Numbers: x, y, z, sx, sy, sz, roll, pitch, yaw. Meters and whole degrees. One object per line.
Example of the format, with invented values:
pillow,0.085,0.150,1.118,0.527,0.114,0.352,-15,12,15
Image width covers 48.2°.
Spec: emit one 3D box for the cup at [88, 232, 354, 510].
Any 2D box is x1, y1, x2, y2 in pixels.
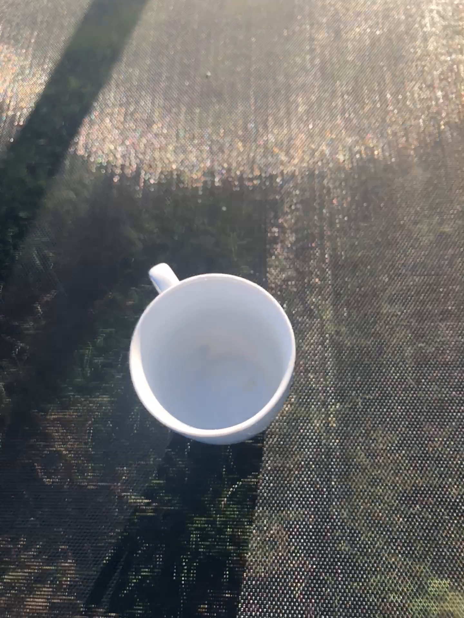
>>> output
cup,-0.006,0.040,0.316,0.100,0.090,0.110,-30,64,-10
